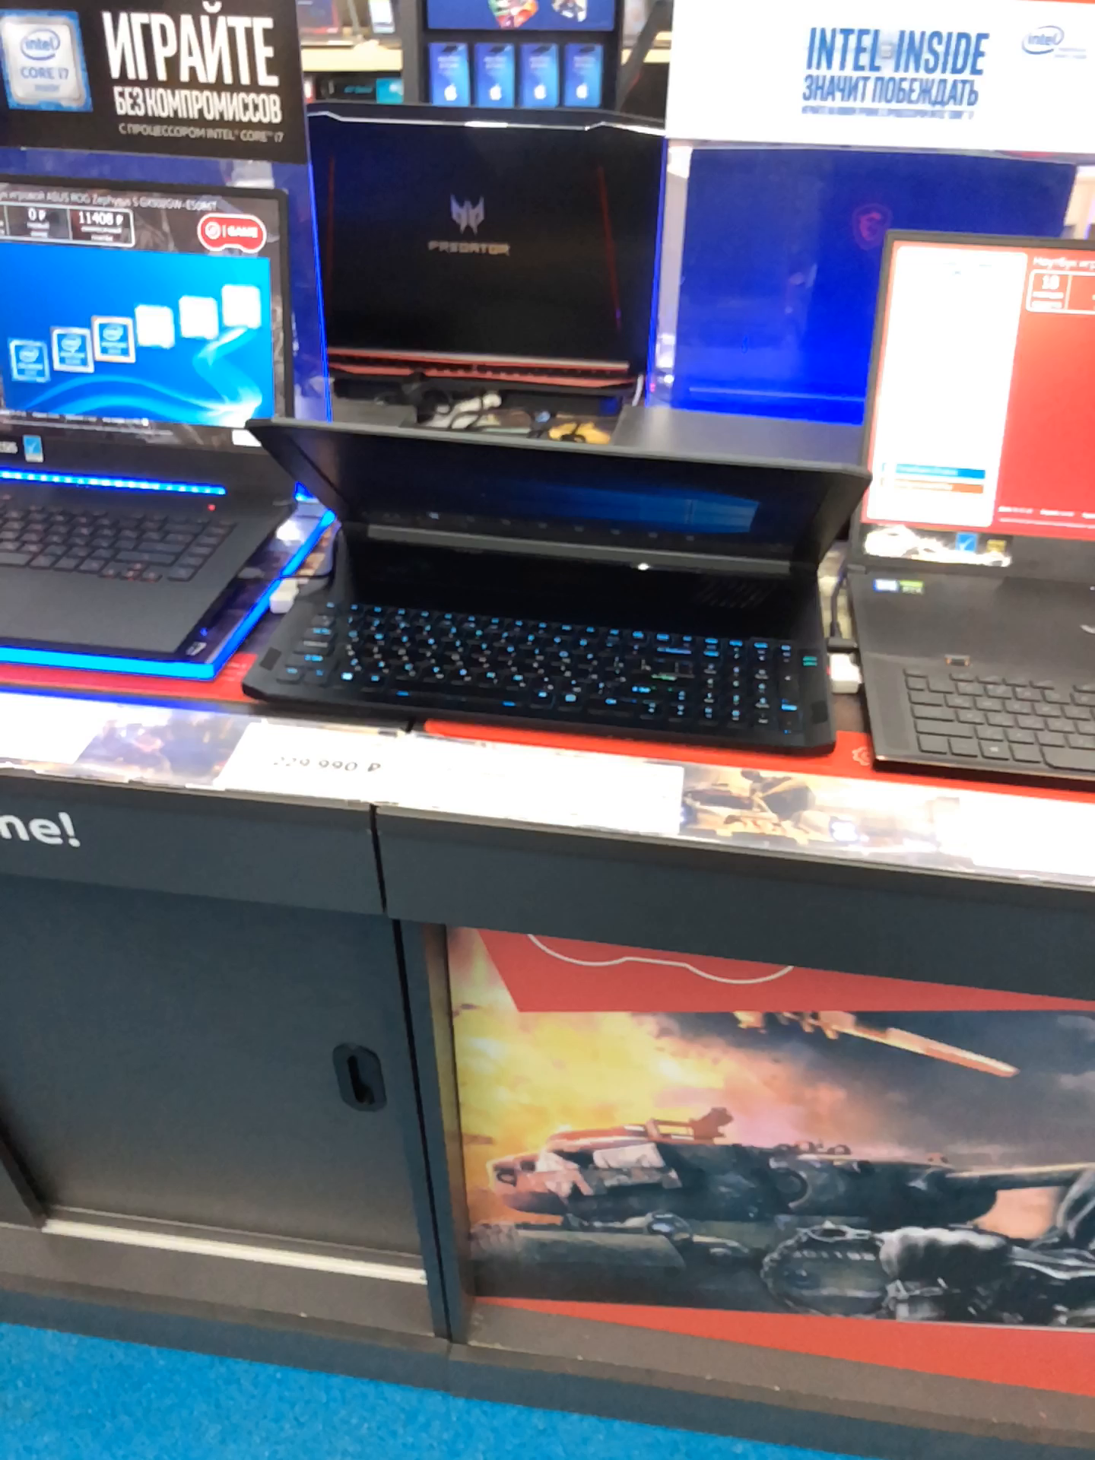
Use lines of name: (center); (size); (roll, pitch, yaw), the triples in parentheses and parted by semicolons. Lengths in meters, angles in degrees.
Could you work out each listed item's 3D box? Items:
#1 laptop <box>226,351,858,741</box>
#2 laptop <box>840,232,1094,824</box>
laptop: (0.005, -0.138, 0.832); (0.370, 0.152, 0.227); (5, 34, 6)
laptop: (0.418, -0.162, 0.812); (0.371, 0.235, 0.365); (6, 33, 6)
